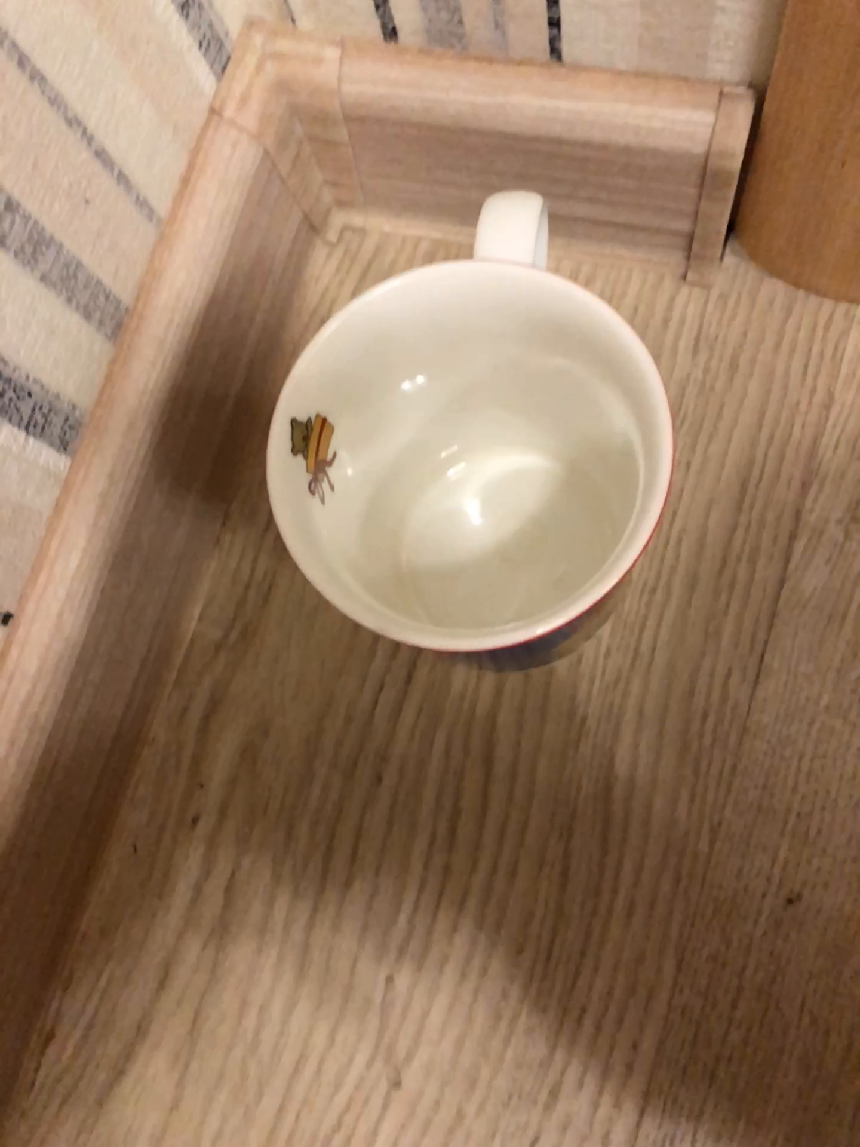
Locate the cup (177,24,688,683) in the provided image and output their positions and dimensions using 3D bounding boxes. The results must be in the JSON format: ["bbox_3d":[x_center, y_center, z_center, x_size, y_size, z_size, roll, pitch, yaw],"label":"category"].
[{"bbox_3d":[0.009,-0.042,0.229,0.087,0.094,0.120,4,80,11],"label":"cup"}]
